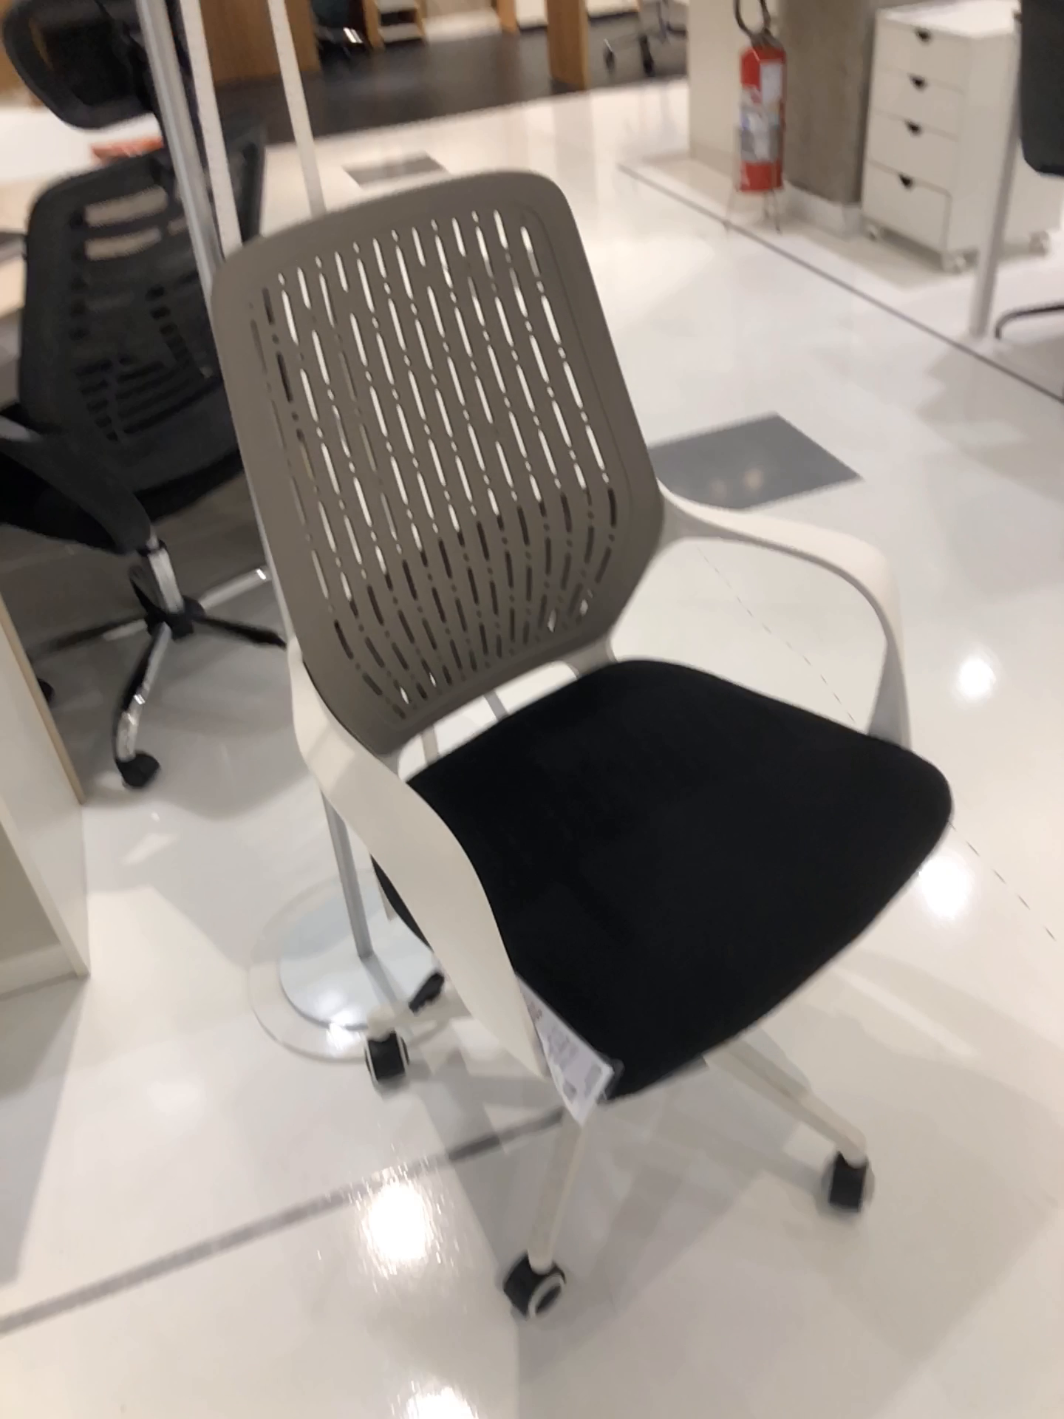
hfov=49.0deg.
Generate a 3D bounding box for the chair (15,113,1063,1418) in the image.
[{"bbox_3d":[0.103,0.052,1.181,0.692,1.003,0.673,-29,43,-28],"label":"chair"}]
